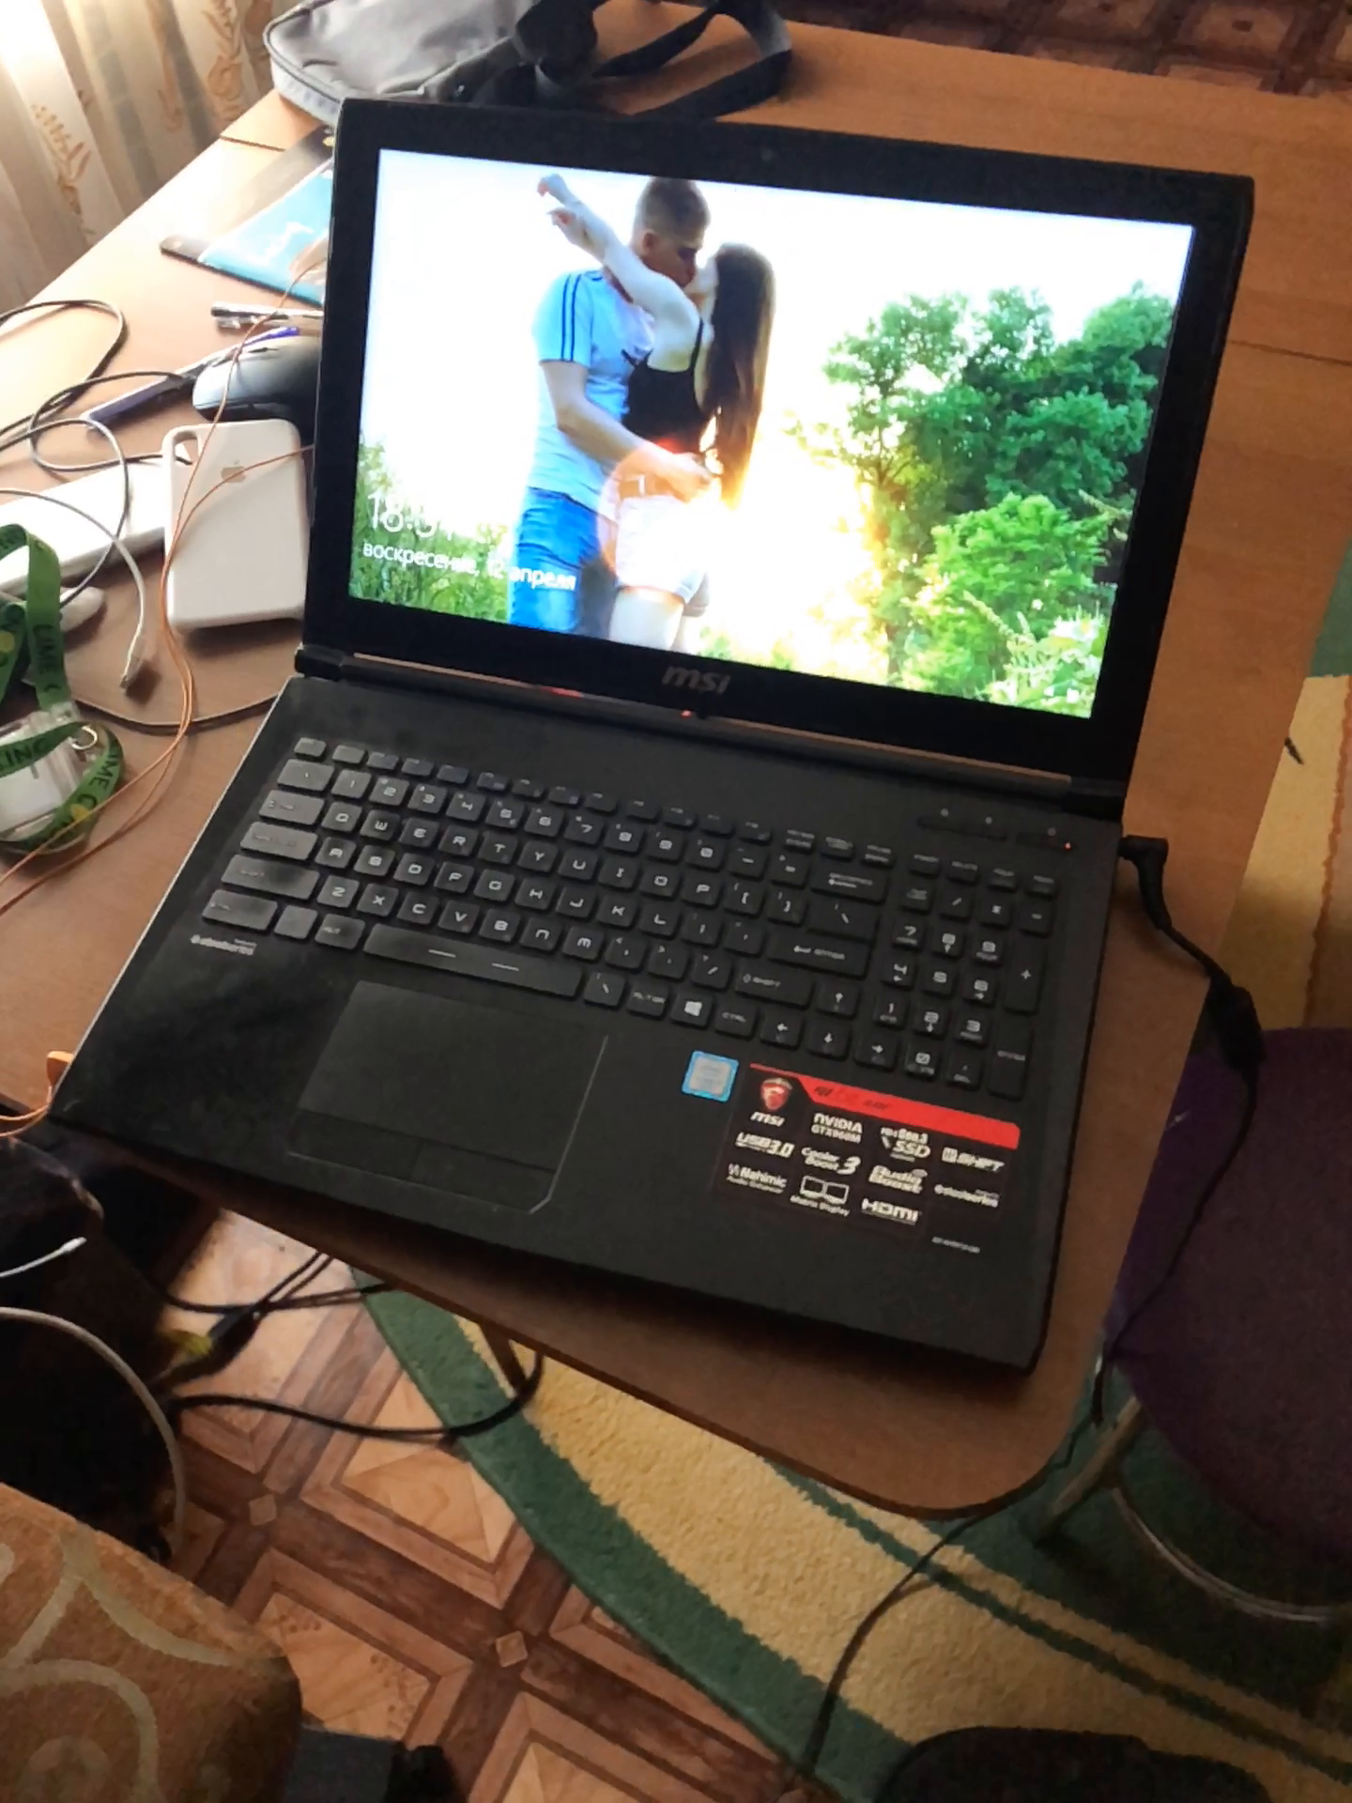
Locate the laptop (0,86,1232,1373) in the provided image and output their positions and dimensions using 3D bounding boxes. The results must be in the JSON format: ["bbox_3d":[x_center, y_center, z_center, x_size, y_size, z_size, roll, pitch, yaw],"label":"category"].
[{"bbox_3d":[-0.015,-0.098,0.566,0.374,0.174,0.410,11,57,11],"label":"laptop"}]
